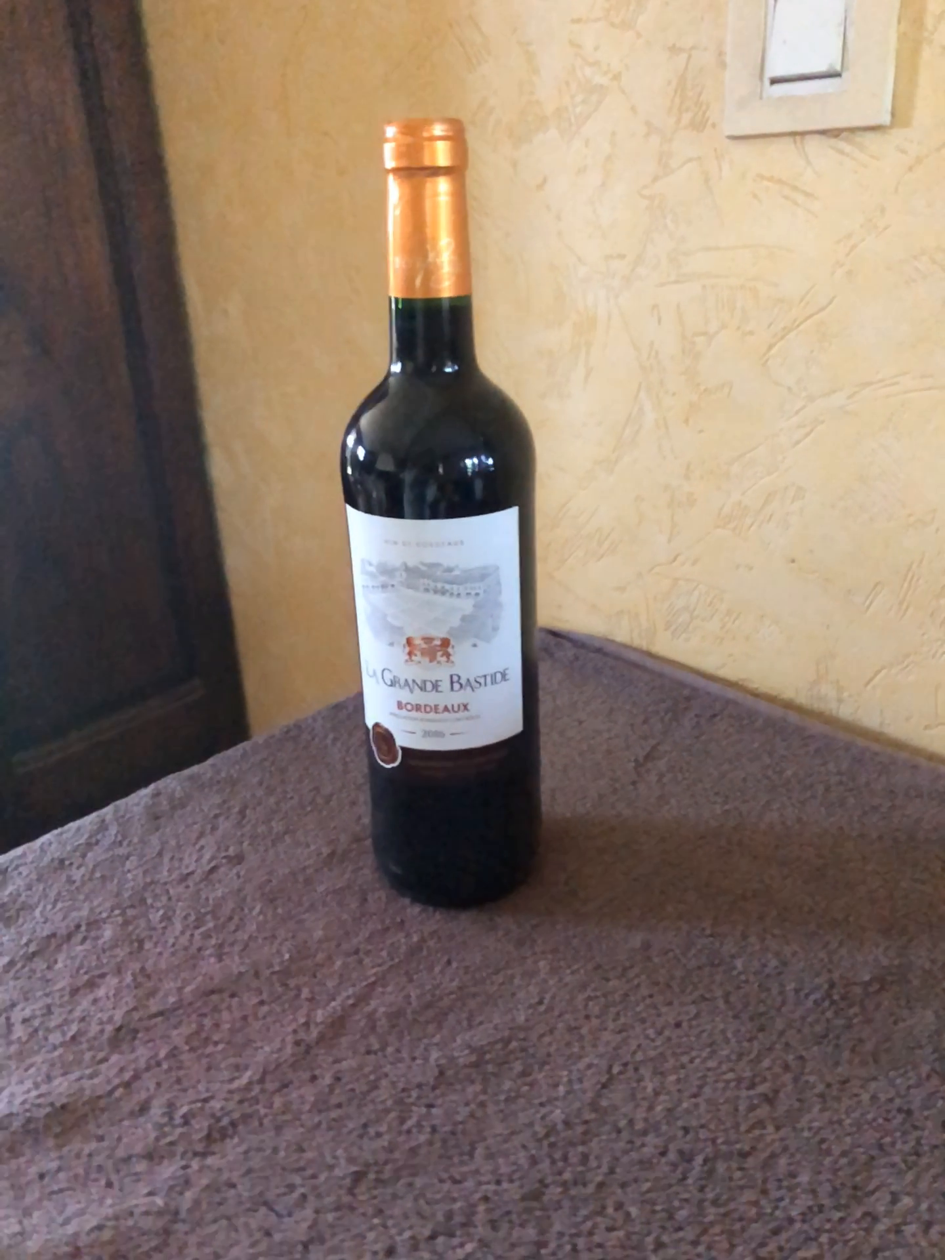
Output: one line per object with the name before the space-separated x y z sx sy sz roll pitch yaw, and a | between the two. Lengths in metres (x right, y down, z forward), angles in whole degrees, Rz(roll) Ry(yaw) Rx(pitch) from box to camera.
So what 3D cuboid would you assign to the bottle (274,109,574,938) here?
bottle | -0.007 -0.032 0.406 0.080 0.298 0.080 -3 22 1
